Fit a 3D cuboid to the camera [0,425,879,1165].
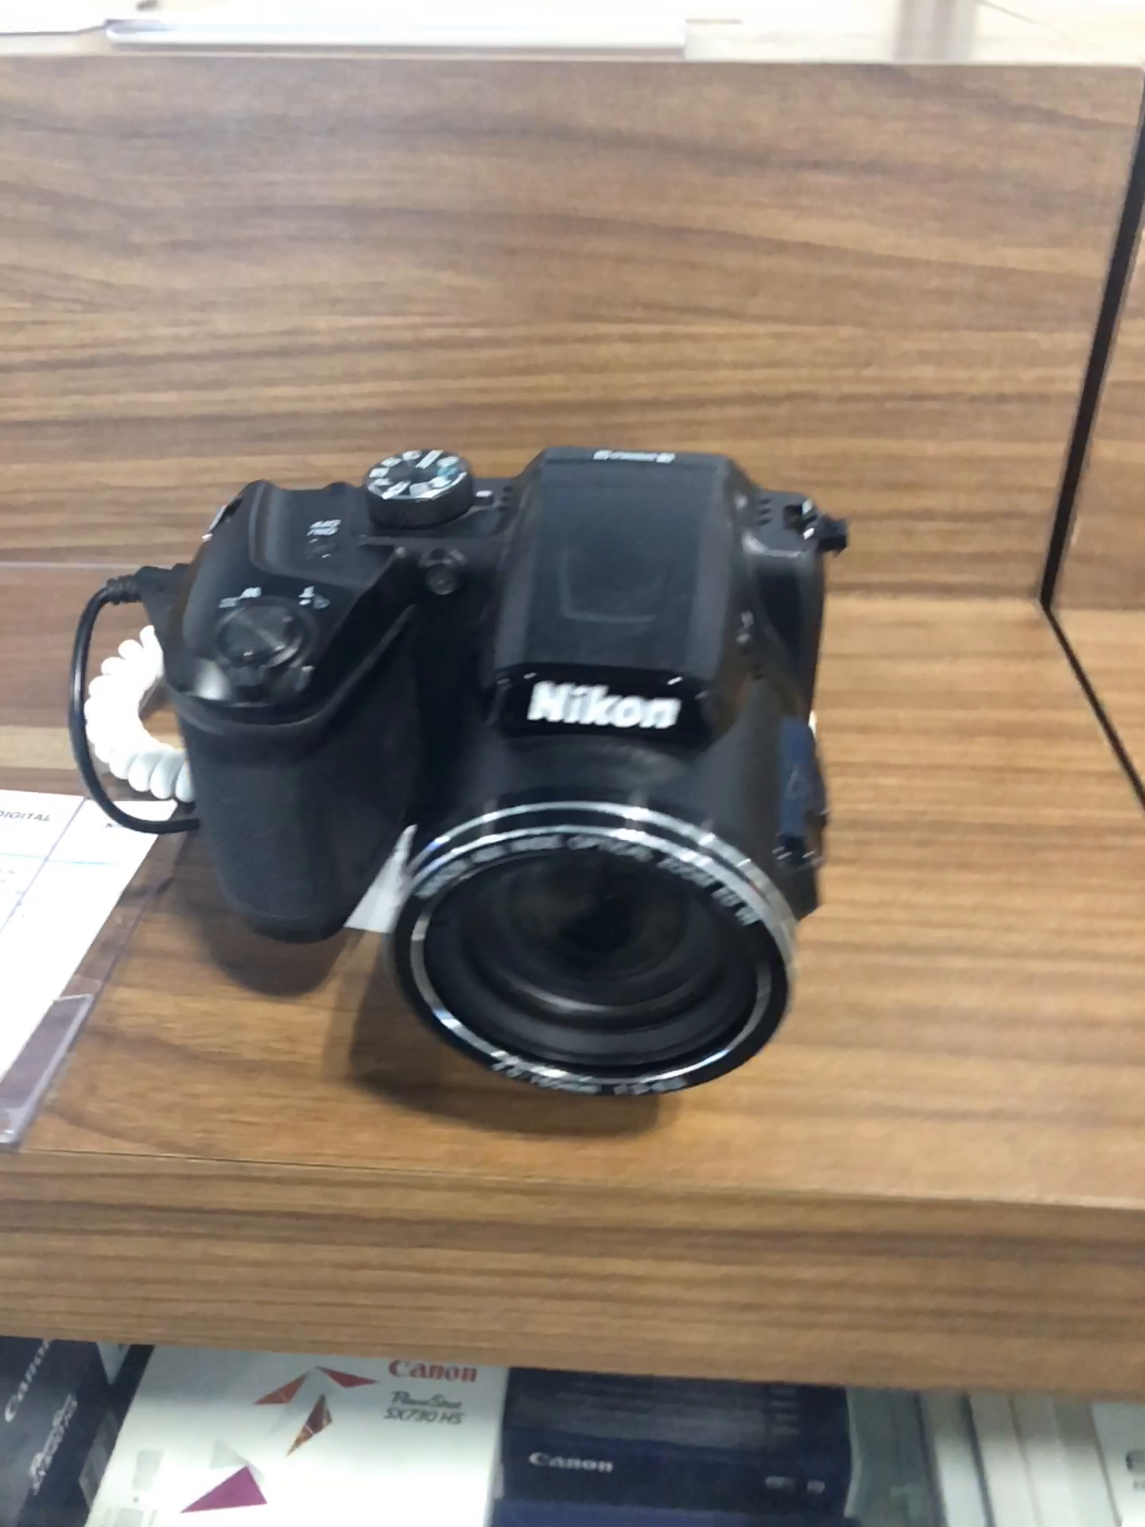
[{"bbox_3d":[-0.015,-0.001,0.215,0.110,0.079,0.096,2,33,3],"label":"camera"}]
